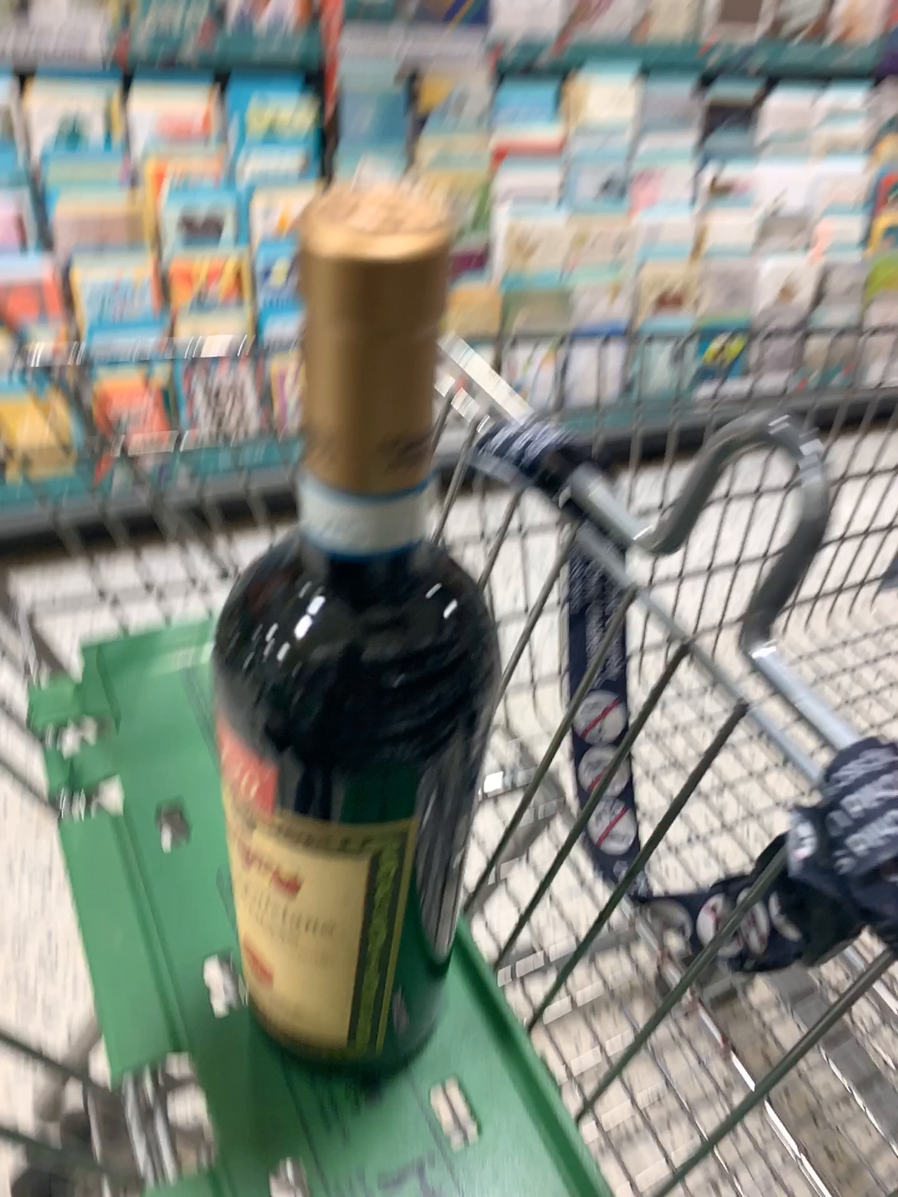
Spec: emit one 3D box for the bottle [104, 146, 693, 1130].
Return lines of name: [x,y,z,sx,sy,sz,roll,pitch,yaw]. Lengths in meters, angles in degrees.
bottle: [-0.024,0.035,0.264,0.080,0.277,0.080,5,40,-4]
